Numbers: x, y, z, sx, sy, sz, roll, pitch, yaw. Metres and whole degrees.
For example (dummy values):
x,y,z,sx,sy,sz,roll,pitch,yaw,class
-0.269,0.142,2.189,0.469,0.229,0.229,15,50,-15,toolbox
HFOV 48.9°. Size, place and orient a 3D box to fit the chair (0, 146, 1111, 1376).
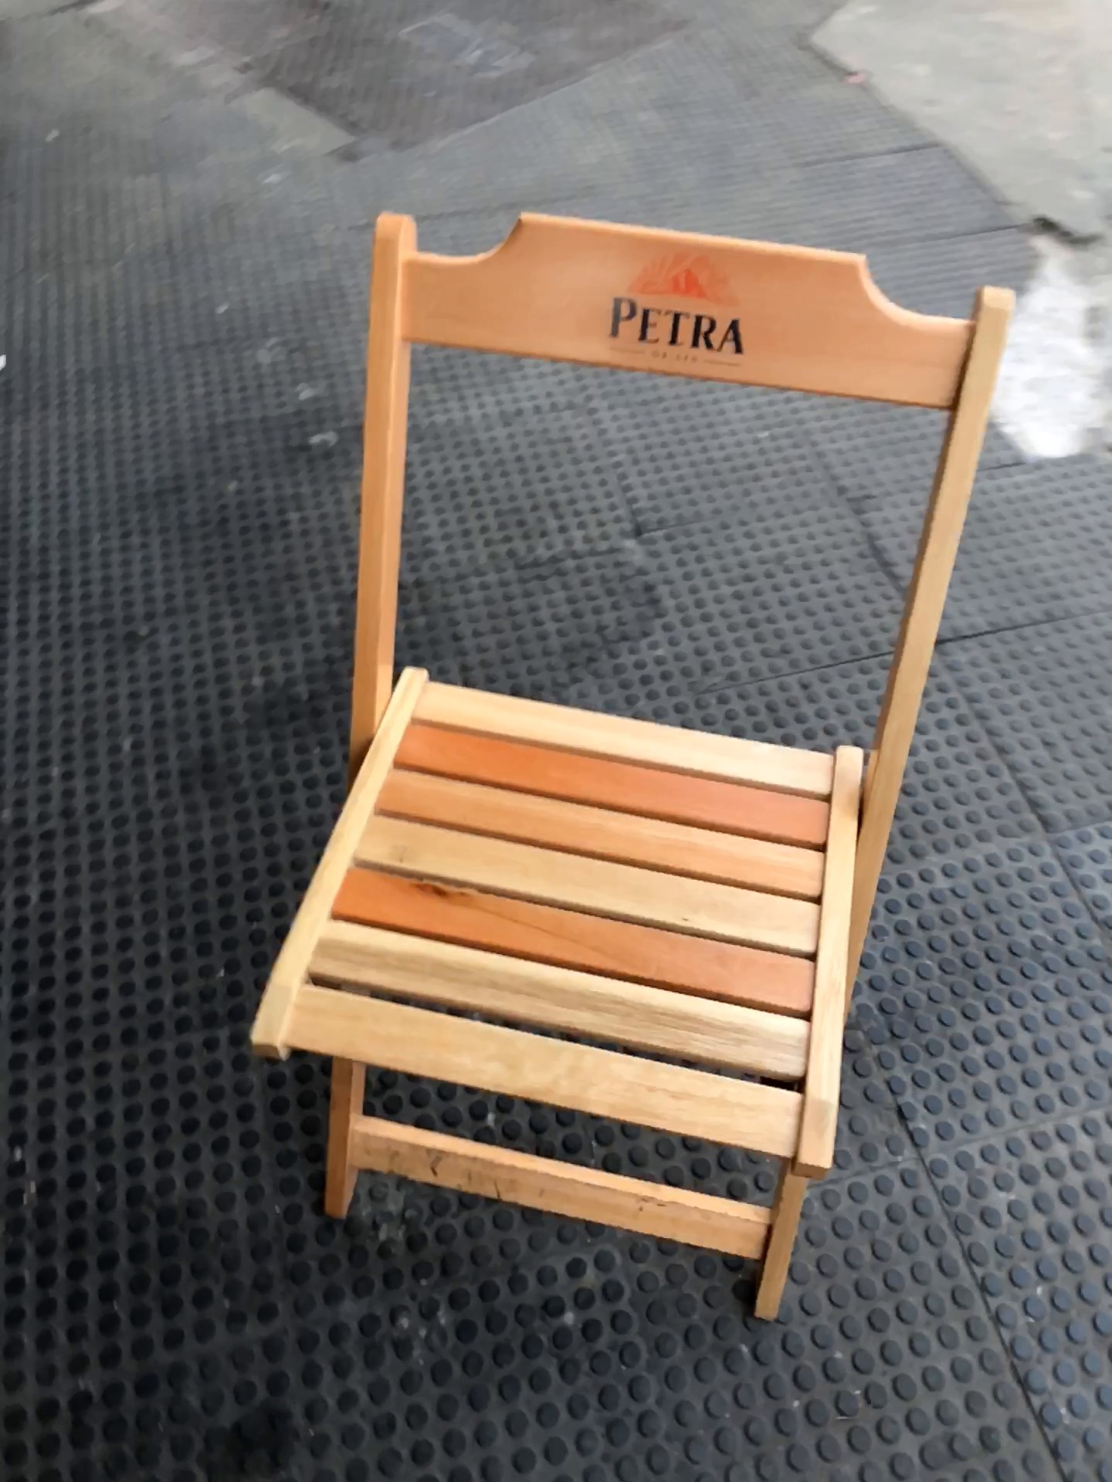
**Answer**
x,y,z,sx,sy,sz,roll,pitch,yaw,class
0.044,0.070,0.927,0.480,0.755,0.503,10,52,8,chair
